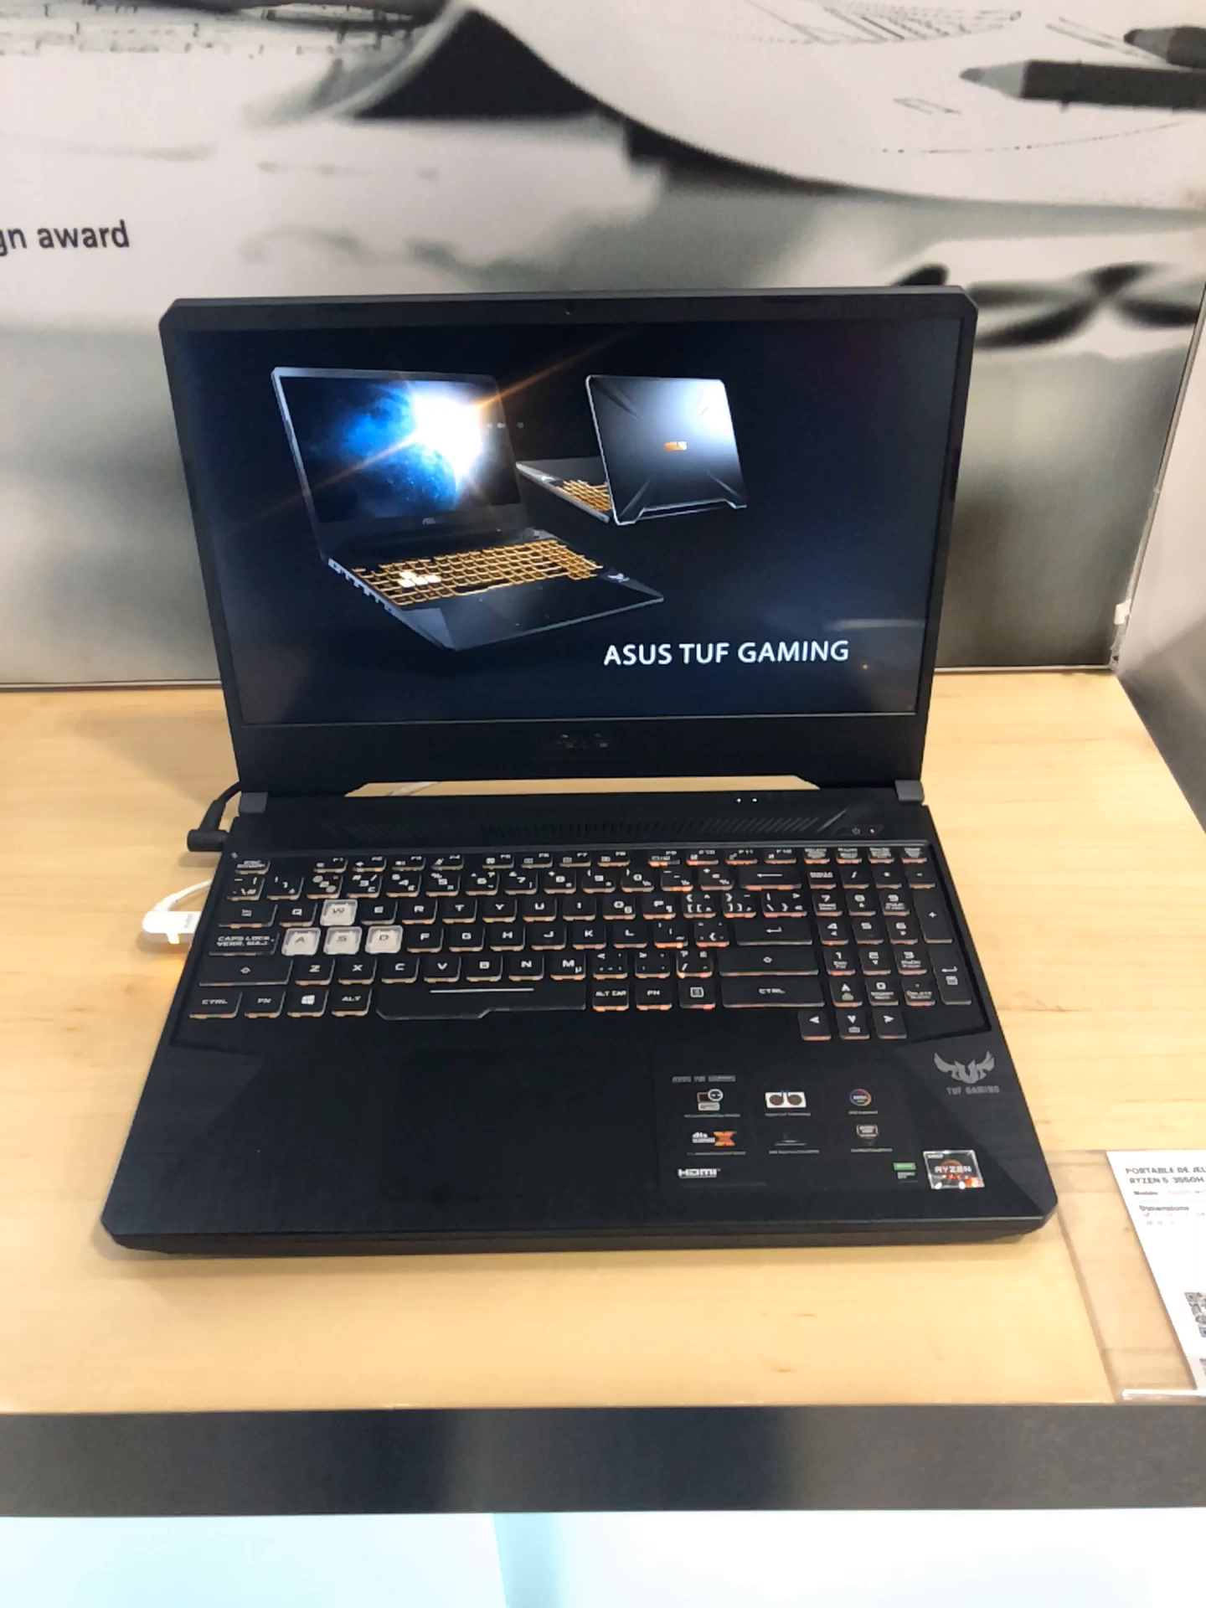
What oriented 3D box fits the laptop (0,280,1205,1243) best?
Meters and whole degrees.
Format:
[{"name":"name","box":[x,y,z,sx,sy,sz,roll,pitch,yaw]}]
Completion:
[{"name":"laptop","box":[-0.015,-0.035,0.540,0.358,0.245,0.311,-1,38,-1]}]
